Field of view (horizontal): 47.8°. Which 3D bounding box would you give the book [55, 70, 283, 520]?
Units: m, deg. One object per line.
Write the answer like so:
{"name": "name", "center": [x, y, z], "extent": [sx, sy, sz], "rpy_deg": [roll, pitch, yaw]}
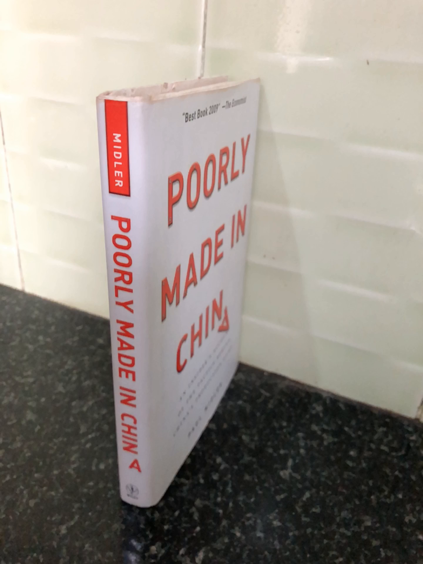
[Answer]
{"name": "book", "center": [-0.012, -0.009, 0.300], "extent": [0.040, 0.219, 0.191], "rpy_deg": [13, 28, 17]}
